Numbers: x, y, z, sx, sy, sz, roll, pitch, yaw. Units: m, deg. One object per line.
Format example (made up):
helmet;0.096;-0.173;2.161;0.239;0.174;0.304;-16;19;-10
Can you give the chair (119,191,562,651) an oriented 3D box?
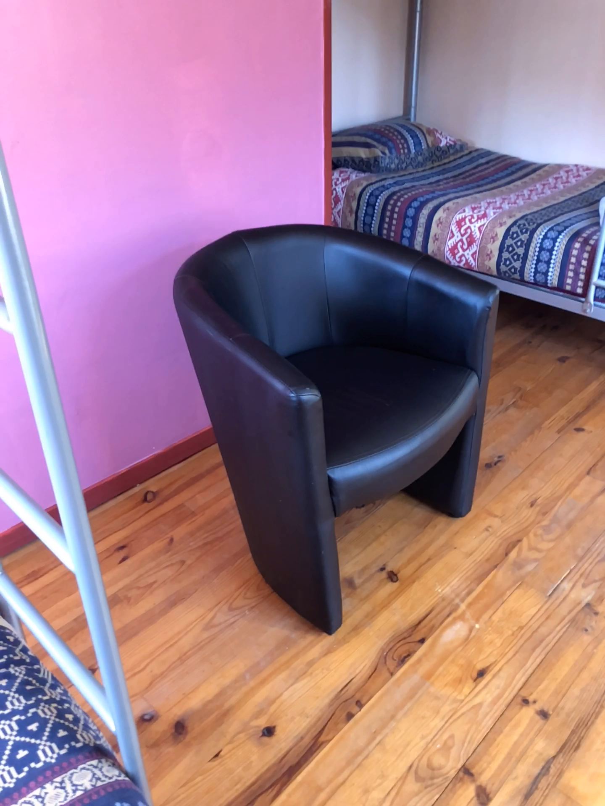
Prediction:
chair;0.091;-0.032;1.493;0.590;0.646;0.674;27;42;37
